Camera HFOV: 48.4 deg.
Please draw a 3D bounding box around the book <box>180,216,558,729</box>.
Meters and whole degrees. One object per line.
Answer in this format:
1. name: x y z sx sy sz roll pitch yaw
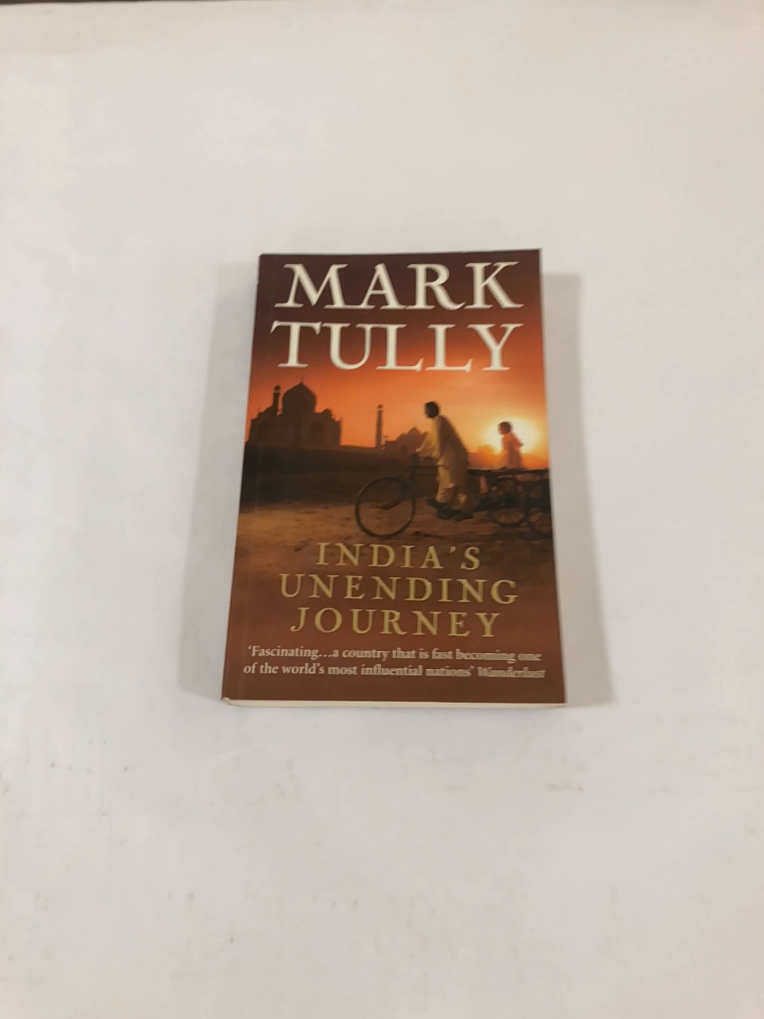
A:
1. book: -0.002 -0.022 0.344 0.130 0.030 0.210 2 69 0
